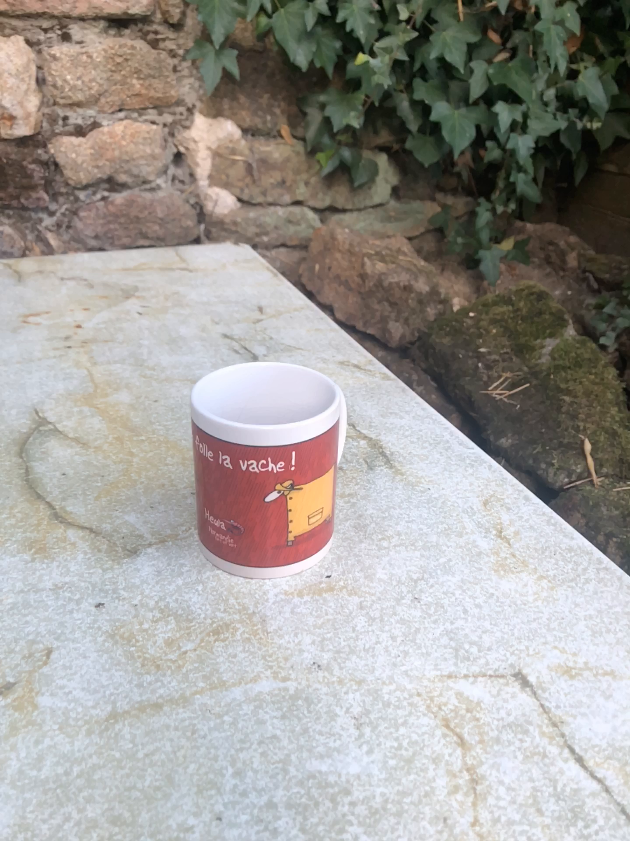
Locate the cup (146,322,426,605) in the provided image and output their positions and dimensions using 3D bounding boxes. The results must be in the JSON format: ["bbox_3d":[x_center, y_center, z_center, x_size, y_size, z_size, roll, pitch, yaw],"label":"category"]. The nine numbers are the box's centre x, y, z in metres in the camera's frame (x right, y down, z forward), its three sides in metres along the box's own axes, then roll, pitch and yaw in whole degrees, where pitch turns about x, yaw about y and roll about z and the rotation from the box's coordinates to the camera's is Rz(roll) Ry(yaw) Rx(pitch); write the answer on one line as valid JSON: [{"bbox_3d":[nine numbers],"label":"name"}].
[{"bbox_3d":[-0.011,0.014,0.383,0.086,0.083,0.130,20,34,28],"label":"cup"}]
